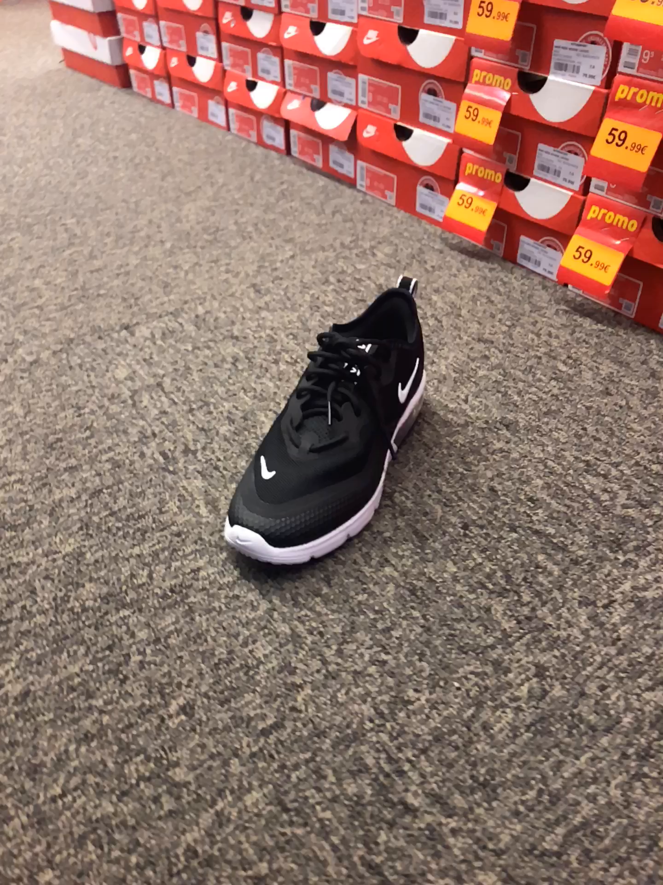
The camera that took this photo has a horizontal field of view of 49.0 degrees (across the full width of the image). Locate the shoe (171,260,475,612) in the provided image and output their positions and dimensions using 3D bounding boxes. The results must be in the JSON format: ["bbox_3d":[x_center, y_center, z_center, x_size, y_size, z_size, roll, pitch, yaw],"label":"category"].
[{"bbox_3d":[0.009,-0.022,0.539,0.100,0.109,0.258,18,44,22],"label":"shoe"}]
